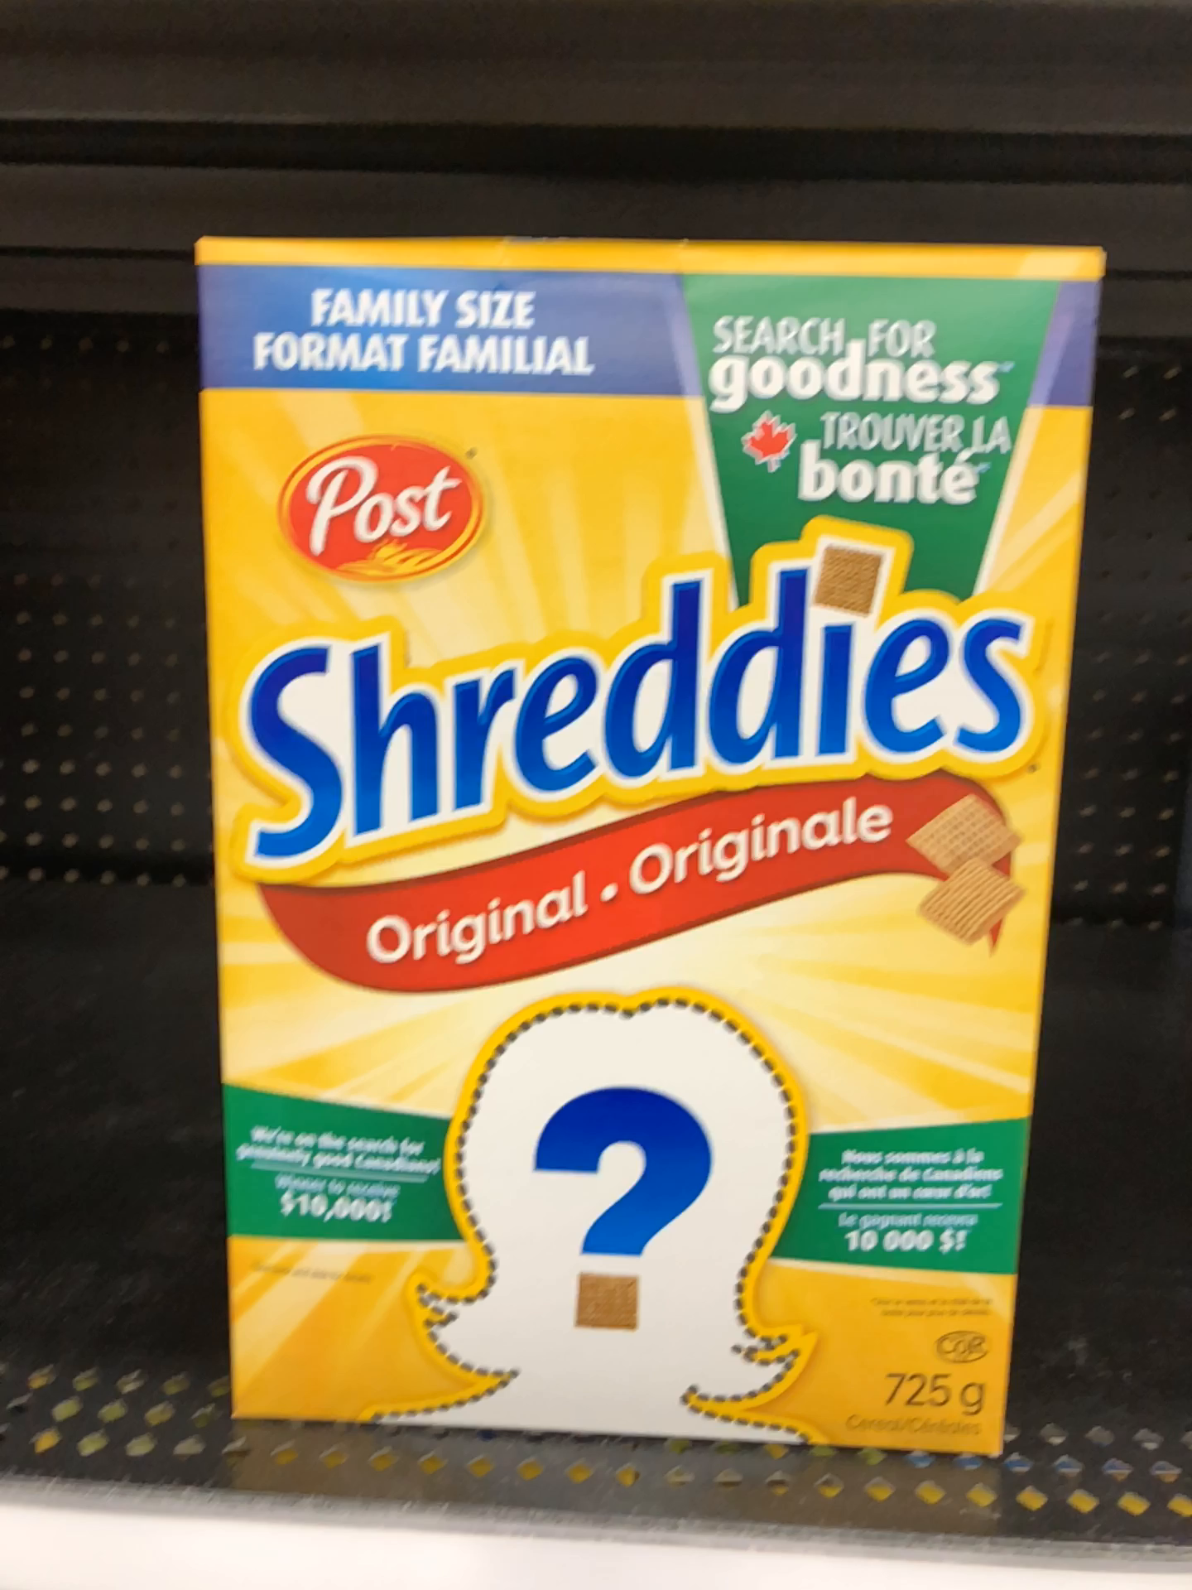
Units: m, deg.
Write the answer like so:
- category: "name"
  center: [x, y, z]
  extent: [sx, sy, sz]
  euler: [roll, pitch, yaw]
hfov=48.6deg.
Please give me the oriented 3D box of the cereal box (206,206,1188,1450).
- category: "cereal box"
  center: [0.018, 0.011, 0.343]
  extent: [0.210, 0.289, 0.070]
  euler: [2, 10, 2]
